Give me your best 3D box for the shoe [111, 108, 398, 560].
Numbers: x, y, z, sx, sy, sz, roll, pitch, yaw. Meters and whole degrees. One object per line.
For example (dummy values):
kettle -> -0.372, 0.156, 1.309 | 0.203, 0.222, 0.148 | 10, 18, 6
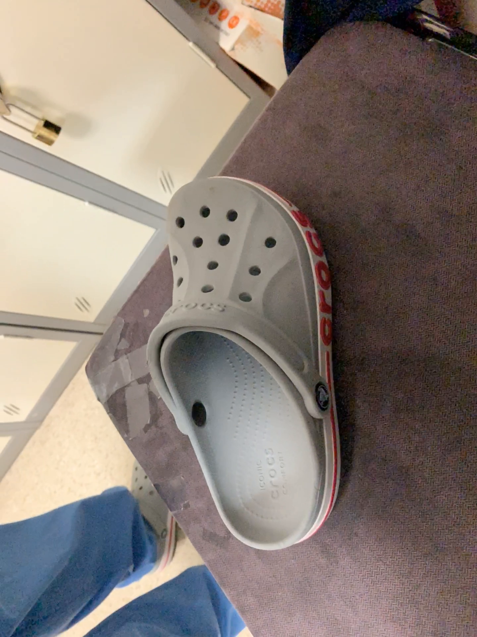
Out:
shoe -> 0.002, 0.013, 0.316 | 0.119, 0.075, 0.239 | -19, 74, 29
